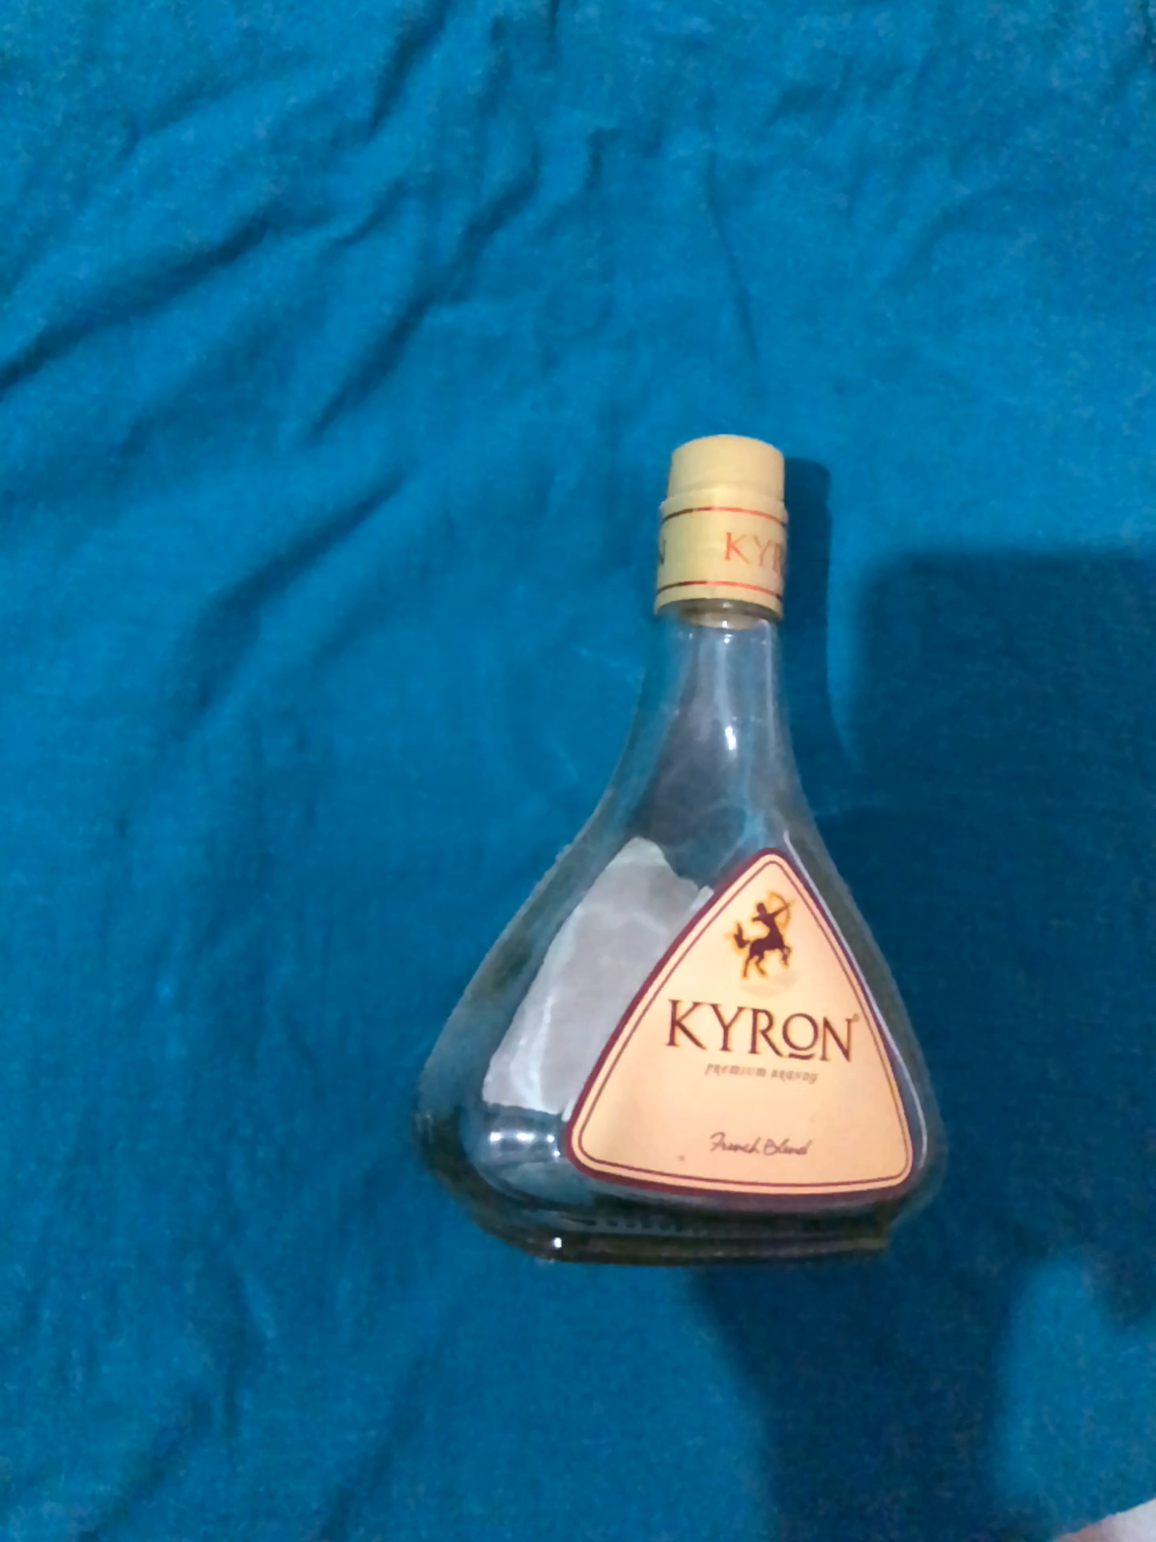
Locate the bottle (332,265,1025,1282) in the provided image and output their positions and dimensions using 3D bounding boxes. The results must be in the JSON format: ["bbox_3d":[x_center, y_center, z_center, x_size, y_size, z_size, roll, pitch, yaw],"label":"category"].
[{"bbox_3d":[0.023,0.006,0.276,0.120,0.060,0.180,7,84,-22],"label":"bottle"}]
